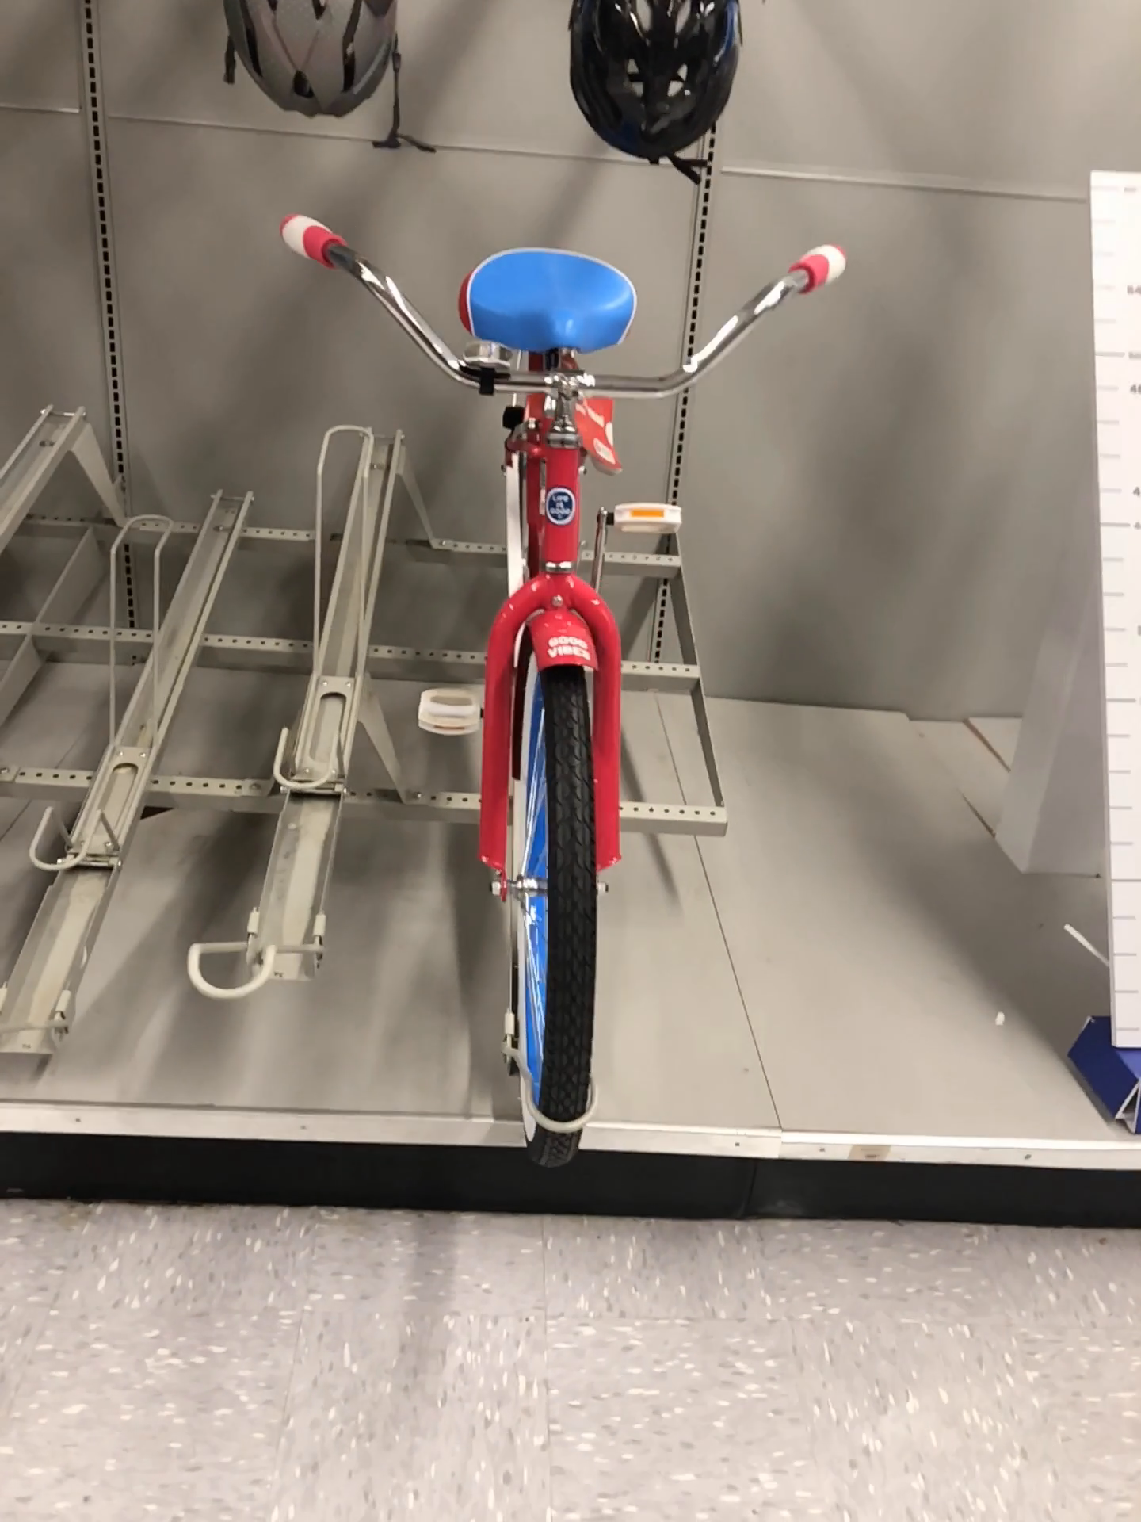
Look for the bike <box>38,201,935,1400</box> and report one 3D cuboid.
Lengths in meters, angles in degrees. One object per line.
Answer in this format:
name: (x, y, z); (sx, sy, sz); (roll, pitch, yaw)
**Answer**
bike: (-0.105, -0.148, 1.871); (0.810, 0.676, 1.615); (3, 39, -5)
